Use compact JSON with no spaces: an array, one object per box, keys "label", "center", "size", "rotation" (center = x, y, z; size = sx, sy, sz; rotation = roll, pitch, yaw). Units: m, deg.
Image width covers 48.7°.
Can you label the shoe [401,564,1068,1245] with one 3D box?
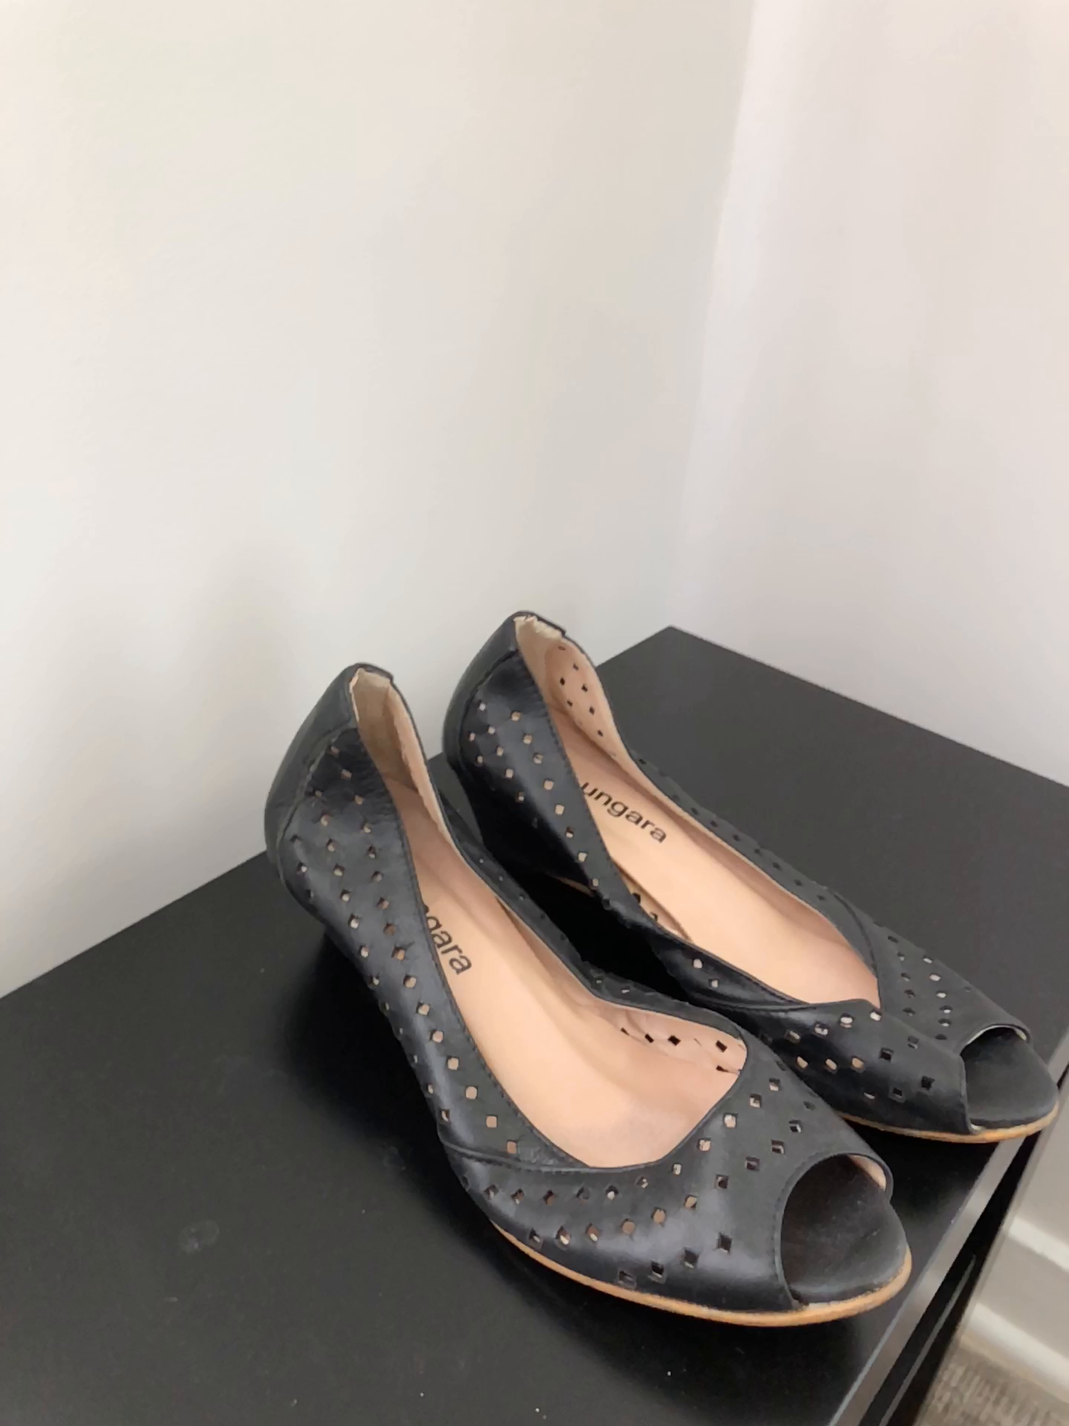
[{"label":"shoe","center":[0.068,0.044,0.378],"size":[0.221,0.100,0.085],"rotation":[25,36,30]}]

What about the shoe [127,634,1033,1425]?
[{"label":"shoe","center":[-0.004,0.075,0.329],"size":[0.231,0.100,0.085],"rotation":[27,36,32]}]
